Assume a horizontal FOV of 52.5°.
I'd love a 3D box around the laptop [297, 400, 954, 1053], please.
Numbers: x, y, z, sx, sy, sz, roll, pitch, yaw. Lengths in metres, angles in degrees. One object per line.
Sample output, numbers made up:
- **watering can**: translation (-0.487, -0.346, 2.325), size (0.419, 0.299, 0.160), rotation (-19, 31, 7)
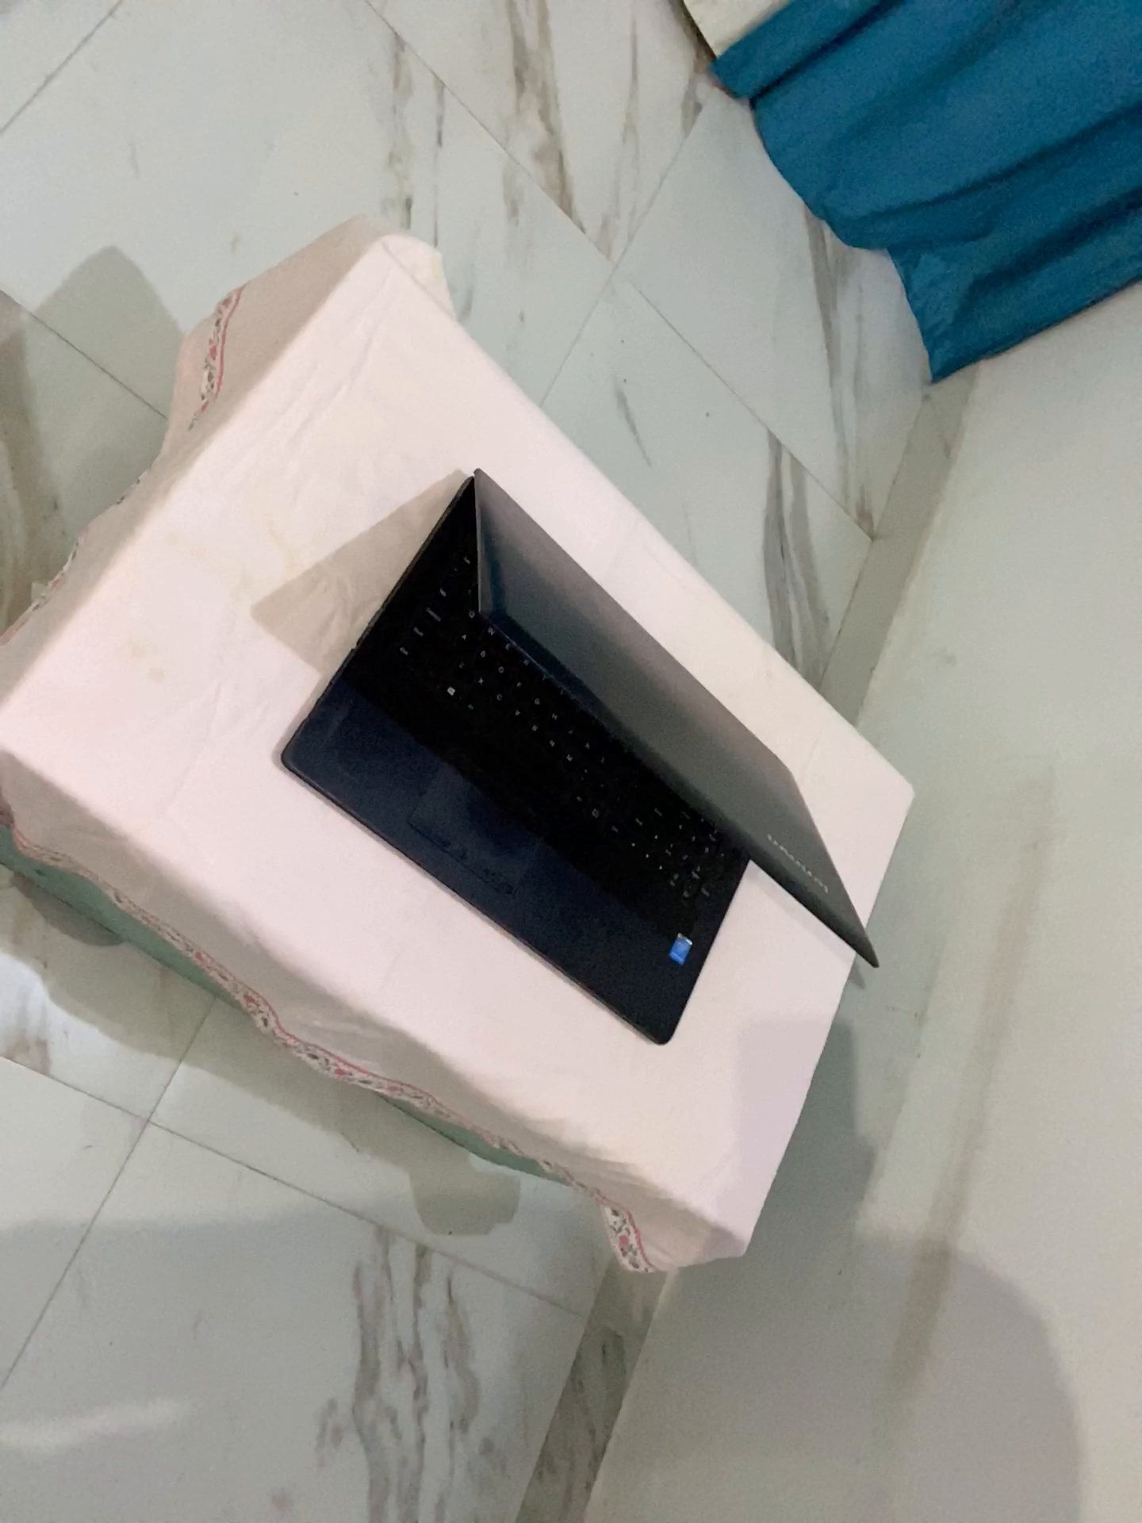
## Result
- **laptop**: translation (0.056, -0.005, 0.823), size (0.369, 0.176, 0.259), rotation (40, 63, -26)
